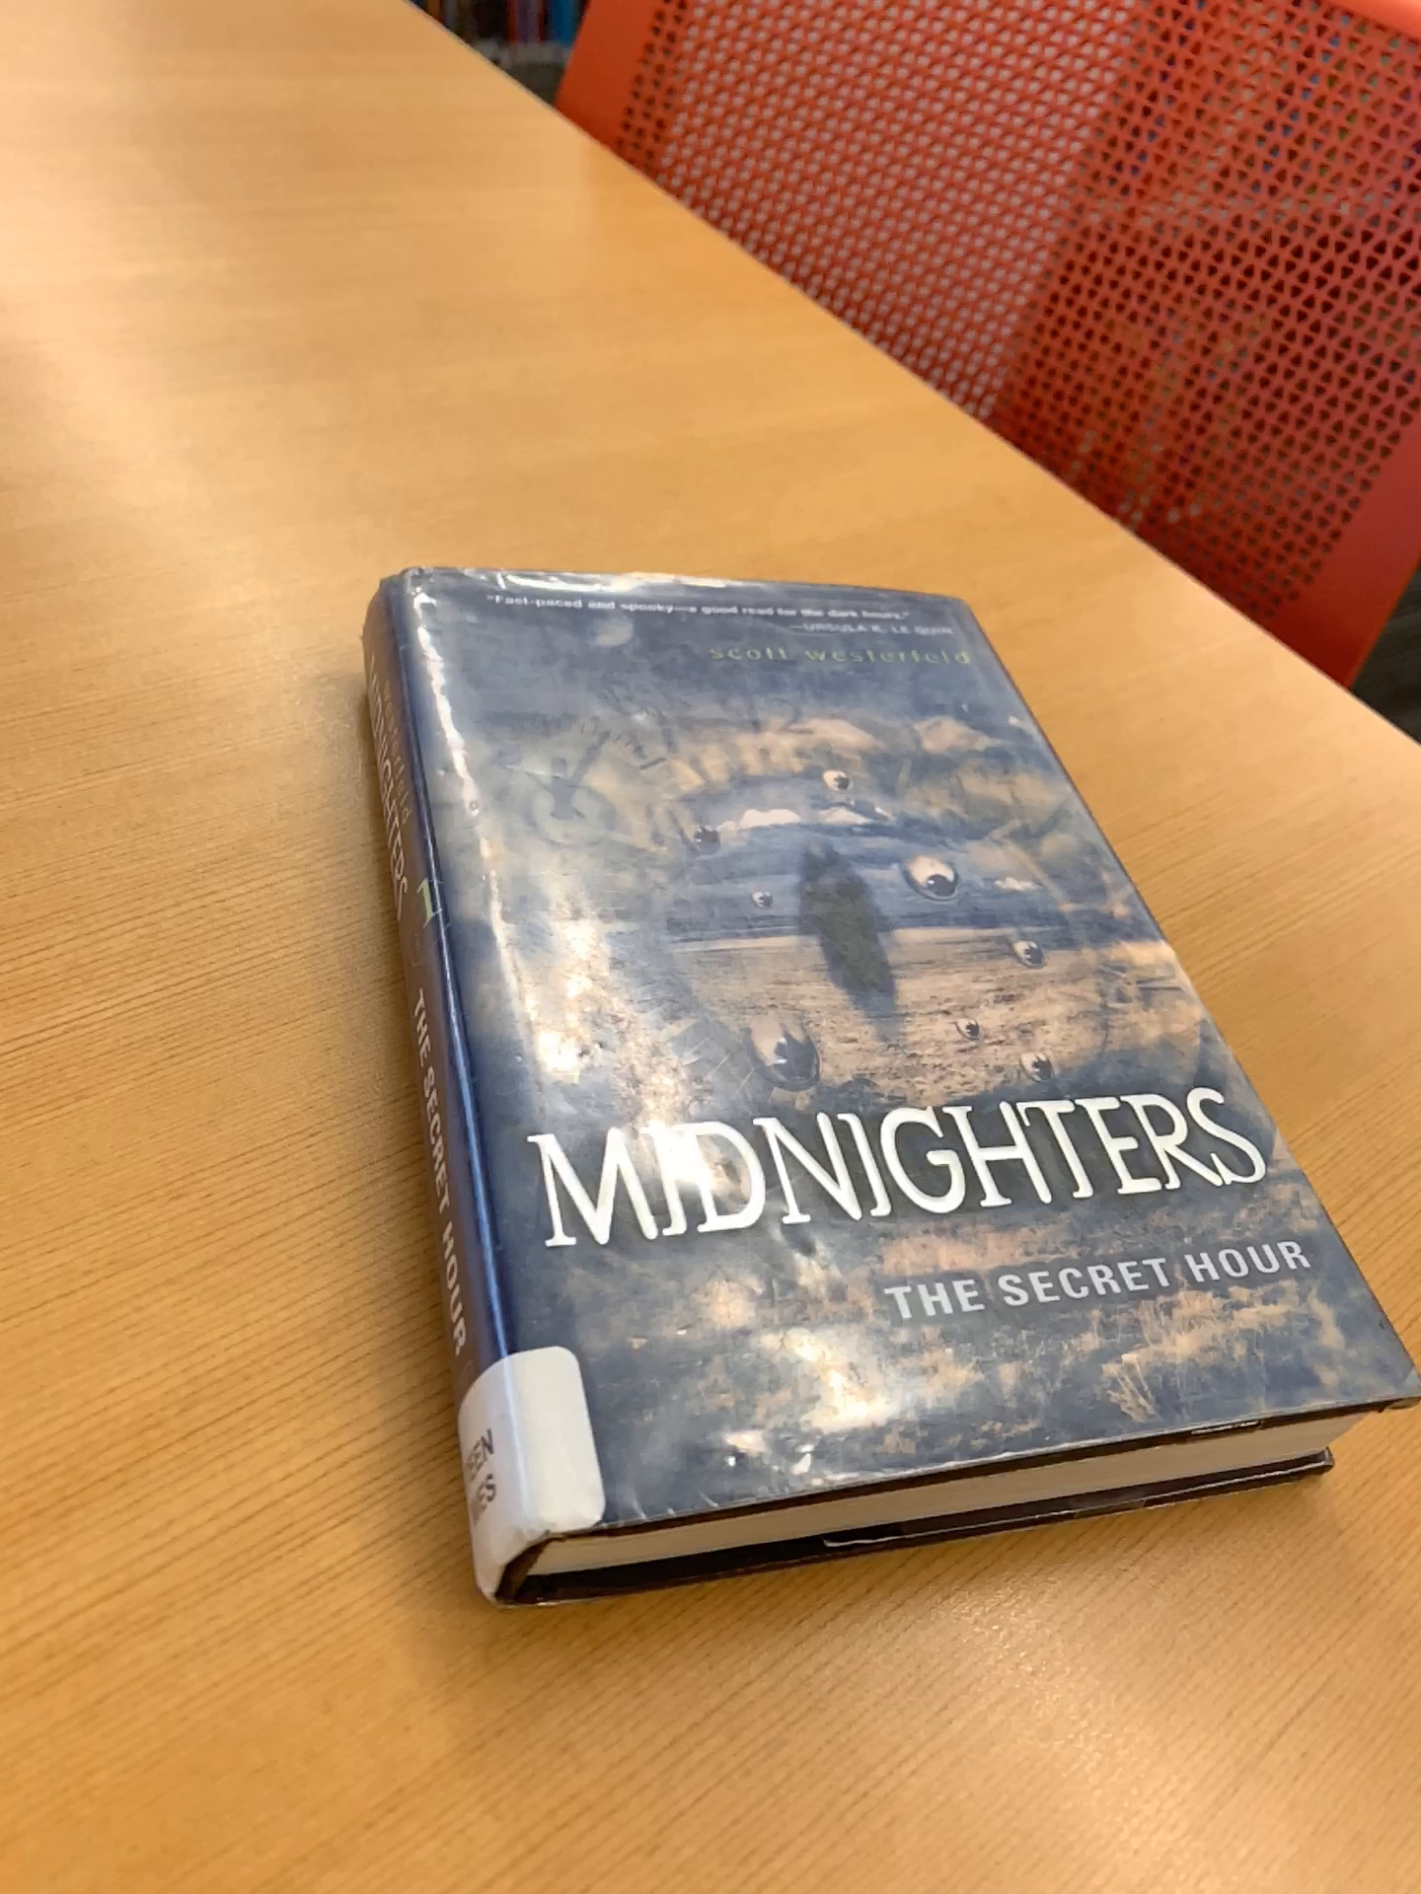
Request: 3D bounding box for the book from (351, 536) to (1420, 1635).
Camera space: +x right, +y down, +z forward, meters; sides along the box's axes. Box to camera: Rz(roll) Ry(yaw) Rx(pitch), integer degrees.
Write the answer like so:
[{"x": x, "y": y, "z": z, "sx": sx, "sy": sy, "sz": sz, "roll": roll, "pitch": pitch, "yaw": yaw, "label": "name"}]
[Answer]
[{"x": 0.016, "y": 0.002, "z": 0.286, "sx": 0.150, "sy": 0.040, "sz": 0.215, "roll": -2, "pitch": 48, "yaw": -18, "label": "book"}]
